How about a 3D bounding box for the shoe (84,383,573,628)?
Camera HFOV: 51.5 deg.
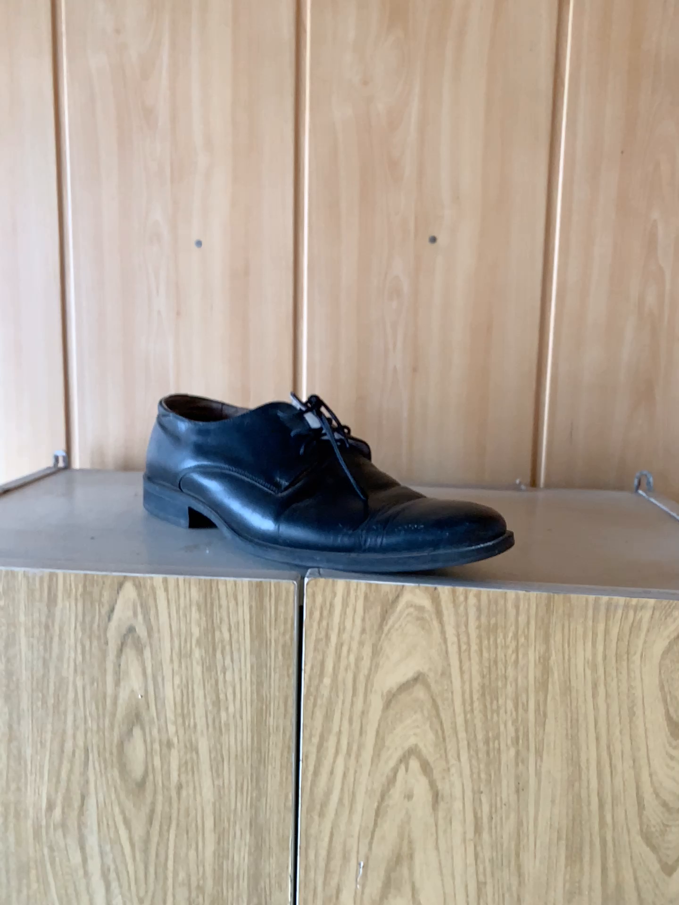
[{"bbox_3d":[-0.022,0.010,0.464,0.300,0.090,0.140,9,12,39],"label":"shoe"}]
